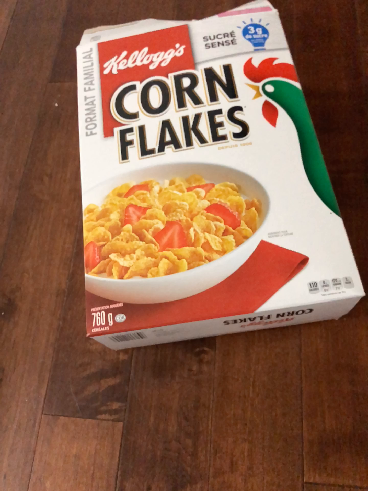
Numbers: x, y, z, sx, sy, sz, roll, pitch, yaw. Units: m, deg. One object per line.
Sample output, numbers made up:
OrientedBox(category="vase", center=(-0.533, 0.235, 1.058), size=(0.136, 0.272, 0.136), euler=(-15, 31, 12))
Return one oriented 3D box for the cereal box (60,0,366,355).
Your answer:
OrientedBox(category="cereal box", center=(0.006, -0.093, 0.463), size=(0.260, 0.090, 0.380), euler=(-9, 69, 3))
